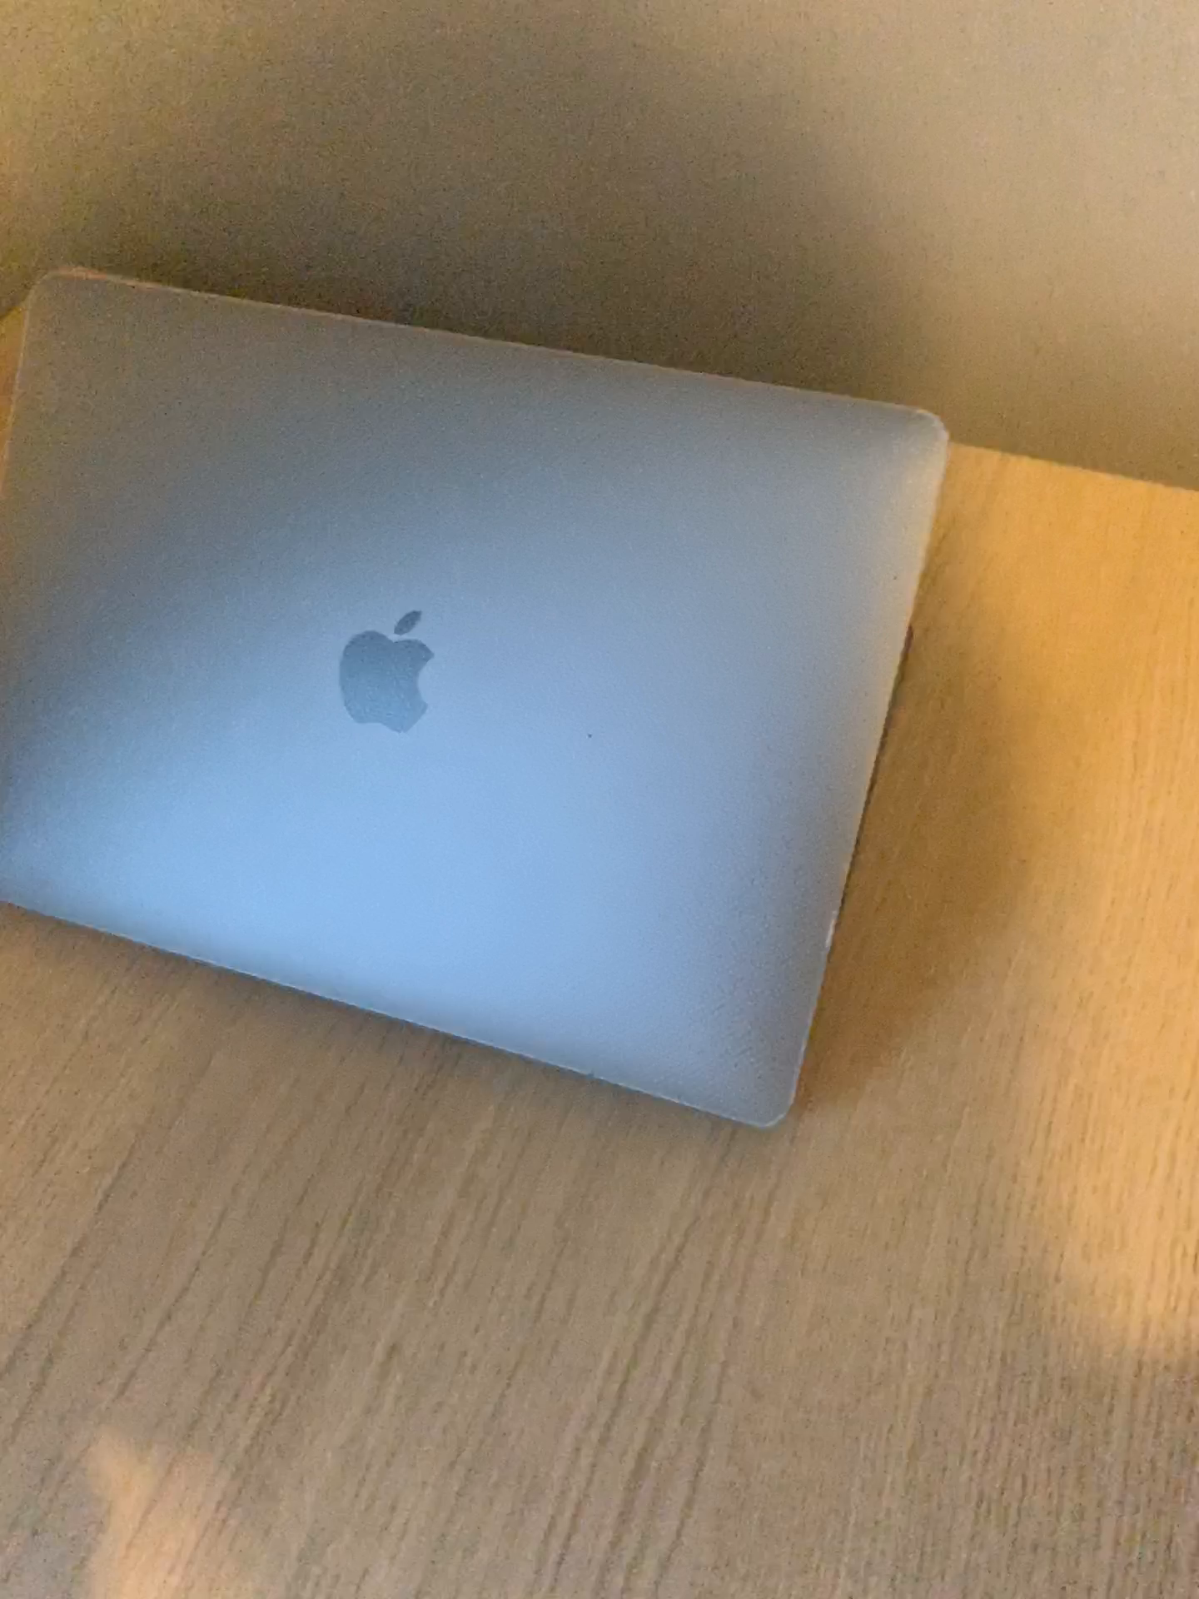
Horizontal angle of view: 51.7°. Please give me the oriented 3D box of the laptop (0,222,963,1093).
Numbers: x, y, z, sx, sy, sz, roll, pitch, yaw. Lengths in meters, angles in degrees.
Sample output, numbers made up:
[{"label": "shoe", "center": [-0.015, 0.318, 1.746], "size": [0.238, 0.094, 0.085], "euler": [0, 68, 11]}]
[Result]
[{"label": "laptop", "center": [-0.059, -0.063, 0.413], "size": [0.309, 0.127, 0.207], "euler": [13, 55, 13]}]
